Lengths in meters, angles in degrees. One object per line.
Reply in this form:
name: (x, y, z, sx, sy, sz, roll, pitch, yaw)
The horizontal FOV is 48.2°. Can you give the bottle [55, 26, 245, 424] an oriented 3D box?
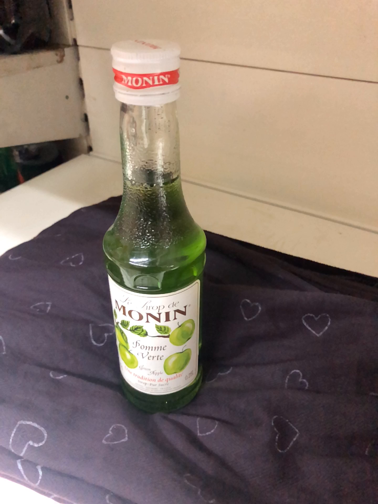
bottle: (-0.013, -0.002, 0.223, 0.060, 0.199, 0.060, 1, 34, 0)
